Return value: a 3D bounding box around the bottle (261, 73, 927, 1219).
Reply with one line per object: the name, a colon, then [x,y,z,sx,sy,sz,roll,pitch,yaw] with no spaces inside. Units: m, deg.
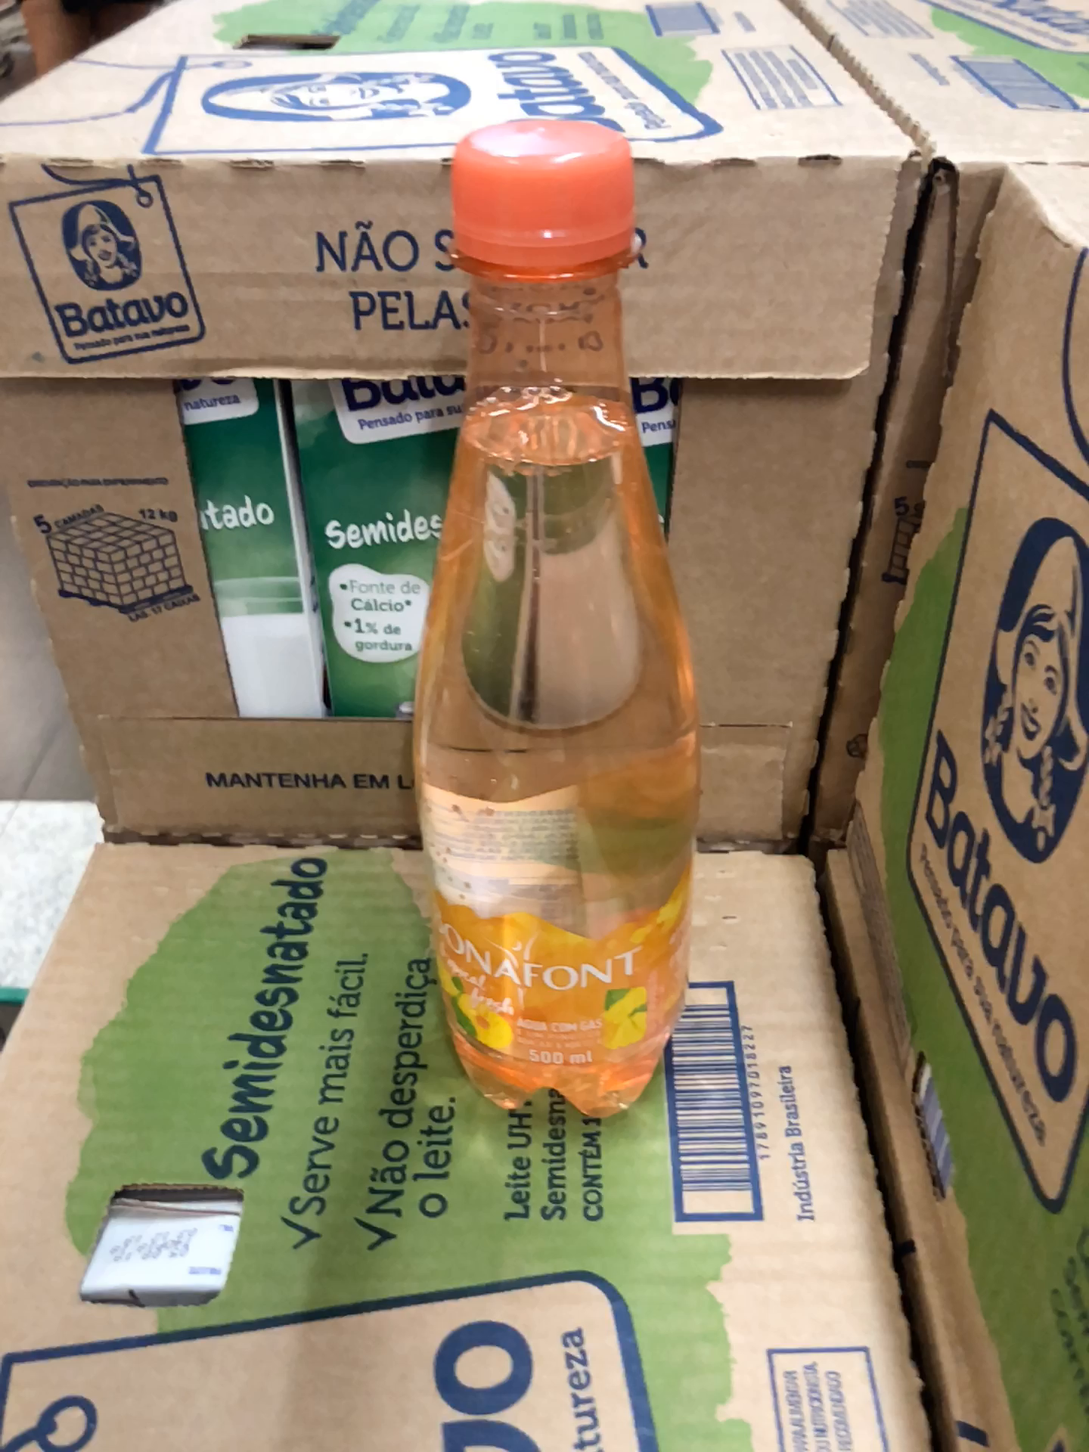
bottle: [0.009,-0.003,0.262,0.080,0.228,0.070,25,44,28]
